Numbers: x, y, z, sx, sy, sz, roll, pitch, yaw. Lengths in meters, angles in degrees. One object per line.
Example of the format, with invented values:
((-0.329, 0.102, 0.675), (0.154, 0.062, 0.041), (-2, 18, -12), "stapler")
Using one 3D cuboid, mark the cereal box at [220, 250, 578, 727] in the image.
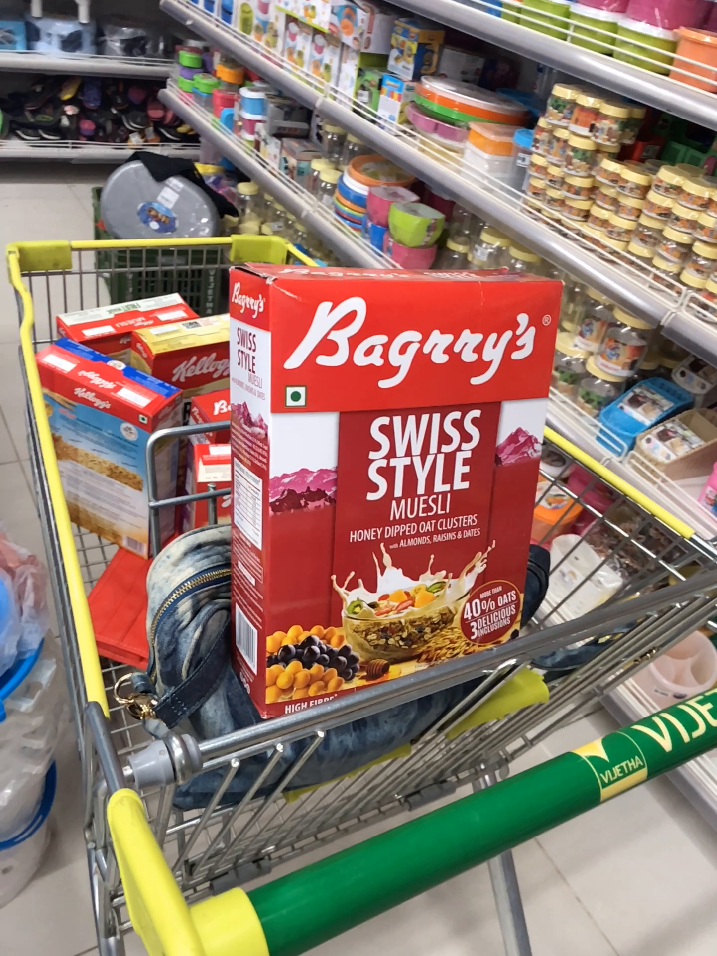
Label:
((0.022, -0.002, 0.483), (0.190, 0.259, 0.070), (-6, 18, -23), "cereal box")
